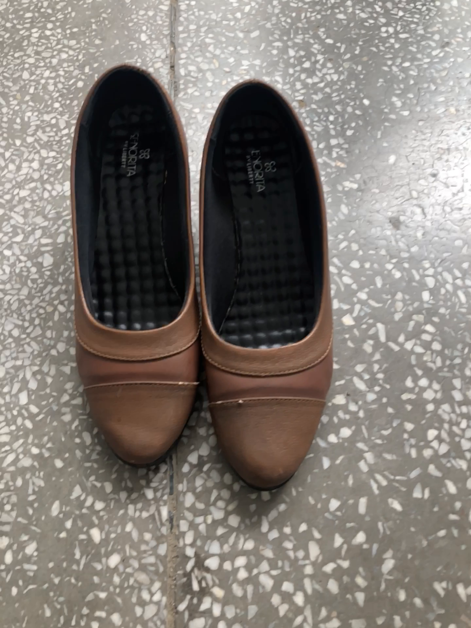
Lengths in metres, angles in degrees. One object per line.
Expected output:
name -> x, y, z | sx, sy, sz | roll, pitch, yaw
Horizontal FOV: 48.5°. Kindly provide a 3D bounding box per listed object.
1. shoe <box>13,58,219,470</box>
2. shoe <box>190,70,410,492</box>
shoe -> -0.060, -0.036, 0.333 | 0.090, 0.096, 0.244 | -2, 64, 0
shoe -> 0.024, -0.025, 0.325 | 0.092, 0.096, 0.241 | -3, 64, -1
